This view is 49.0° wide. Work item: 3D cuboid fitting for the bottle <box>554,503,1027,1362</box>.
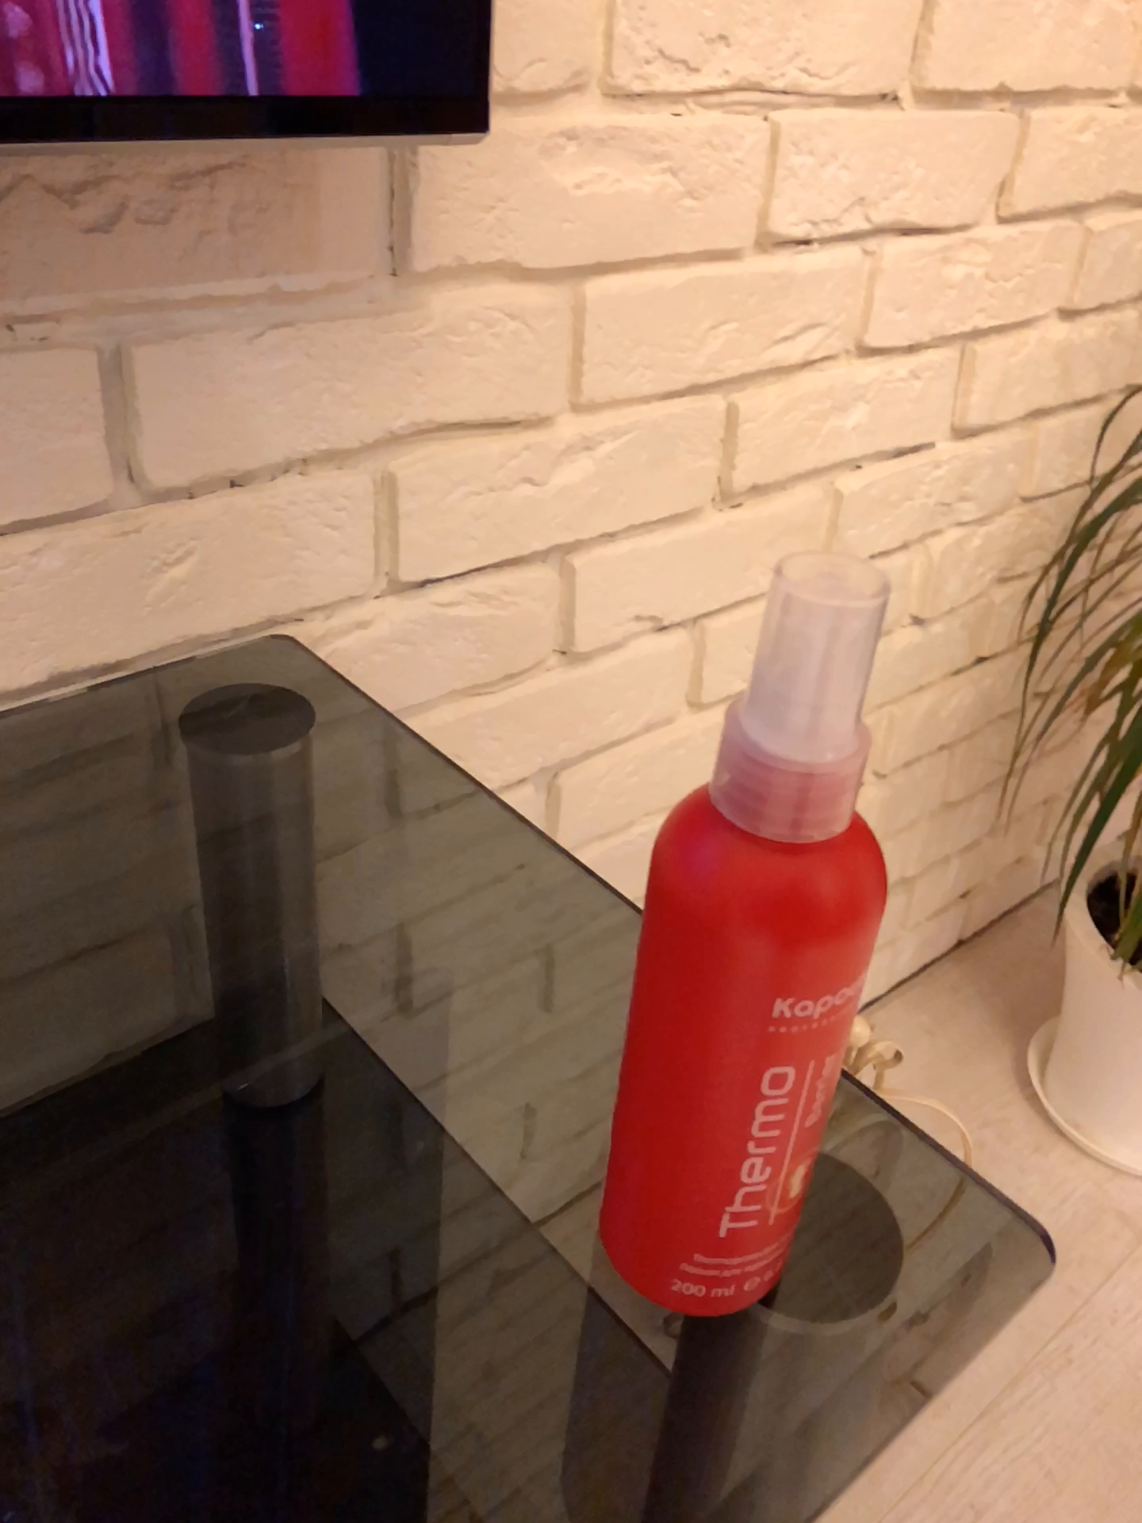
[{"bbox_3d":[0.037,0.043,0.268,0.048,0.179,0.052,4,32,-2],"label":"bottle"}]
